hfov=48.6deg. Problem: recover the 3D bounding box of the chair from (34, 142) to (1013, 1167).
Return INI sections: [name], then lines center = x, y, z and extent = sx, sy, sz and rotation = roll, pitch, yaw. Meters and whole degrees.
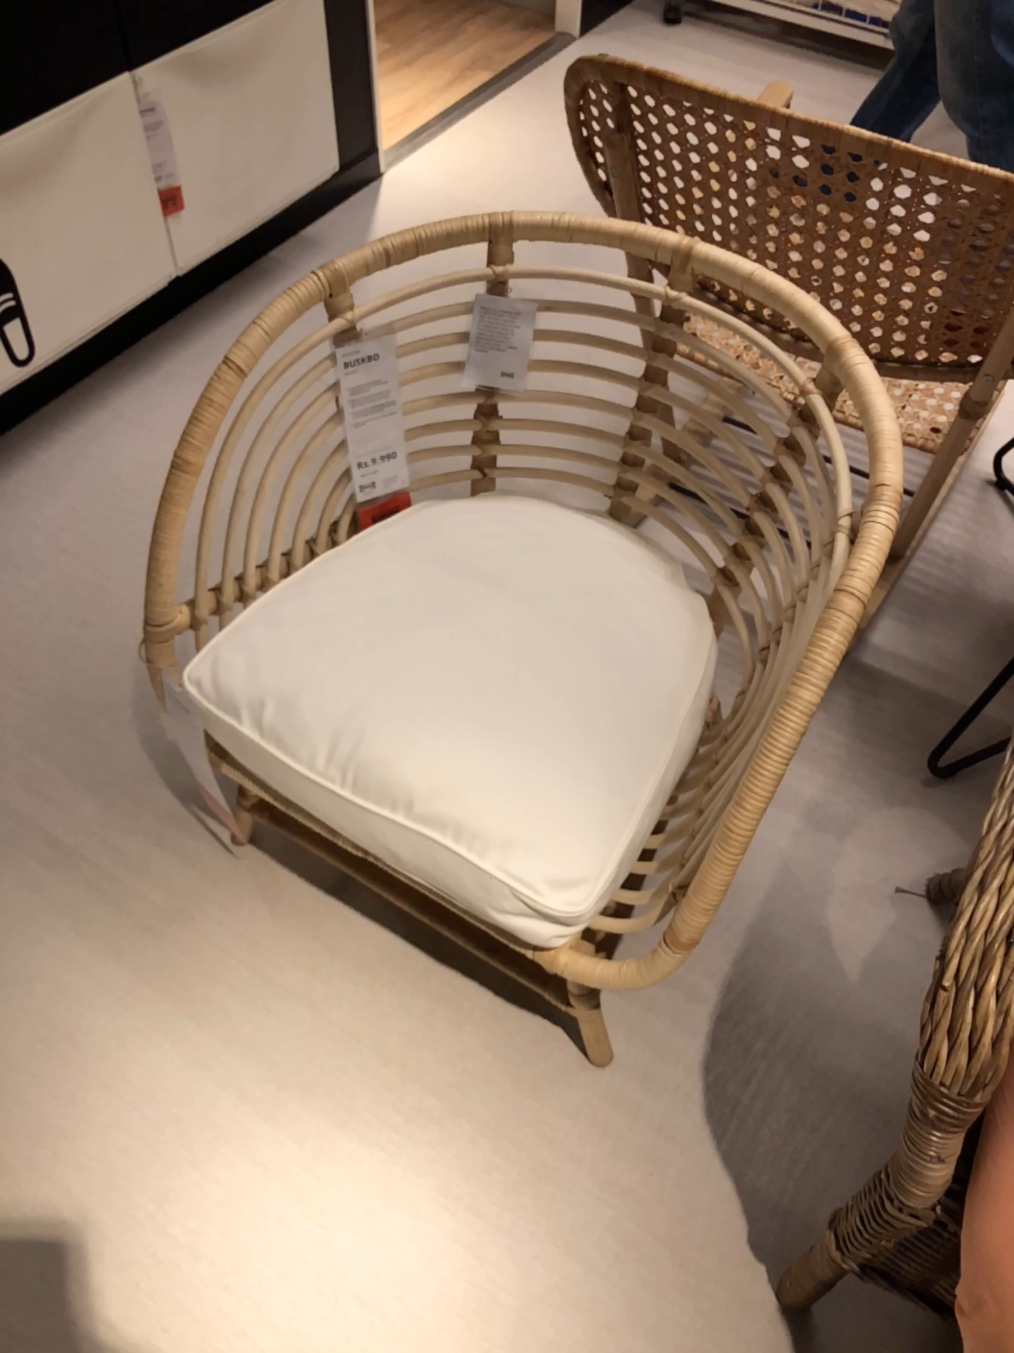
[chair]
center = 0.058, -0.024, 1.408
extent = 0.751, 0.825, 0.683
rotation = 27, 55, 19
